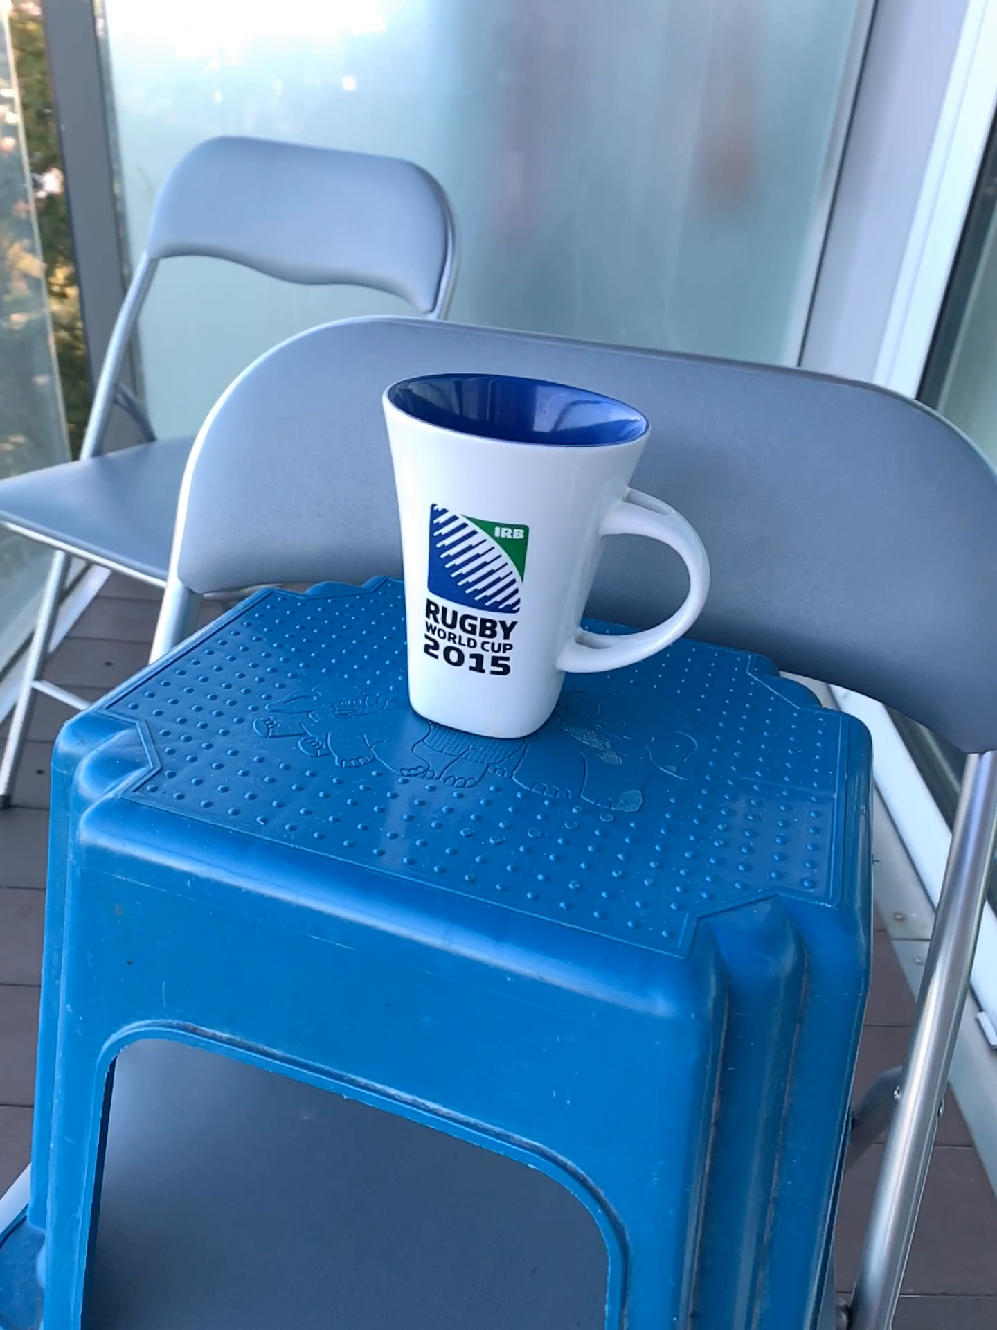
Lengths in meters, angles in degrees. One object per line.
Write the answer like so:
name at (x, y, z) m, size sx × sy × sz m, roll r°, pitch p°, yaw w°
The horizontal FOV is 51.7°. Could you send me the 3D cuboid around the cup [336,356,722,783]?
cup at (0.010, -0.038, 0.358) m, size 0.107 × 0.105 × 0.083 m, roll 13°, pitch 30°, yaw 13°
